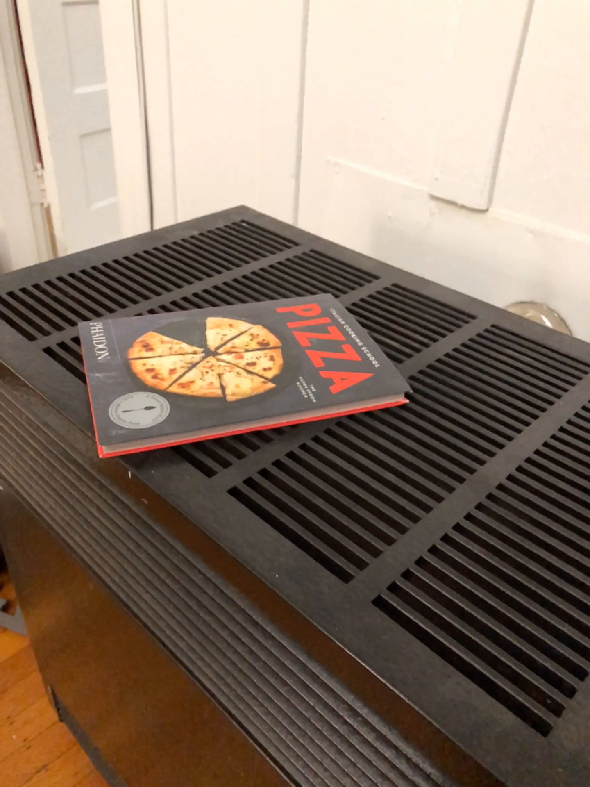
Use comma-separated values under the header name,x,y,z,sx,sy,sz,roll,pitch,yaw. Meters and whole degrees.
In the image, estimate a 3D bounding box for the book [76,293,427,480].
name,x,y,z,sx,sy,sz,roll,pitch,yaw
book,-0.043,-0.020,0.509,0.230,0.020,0.181,-9,36,-18
